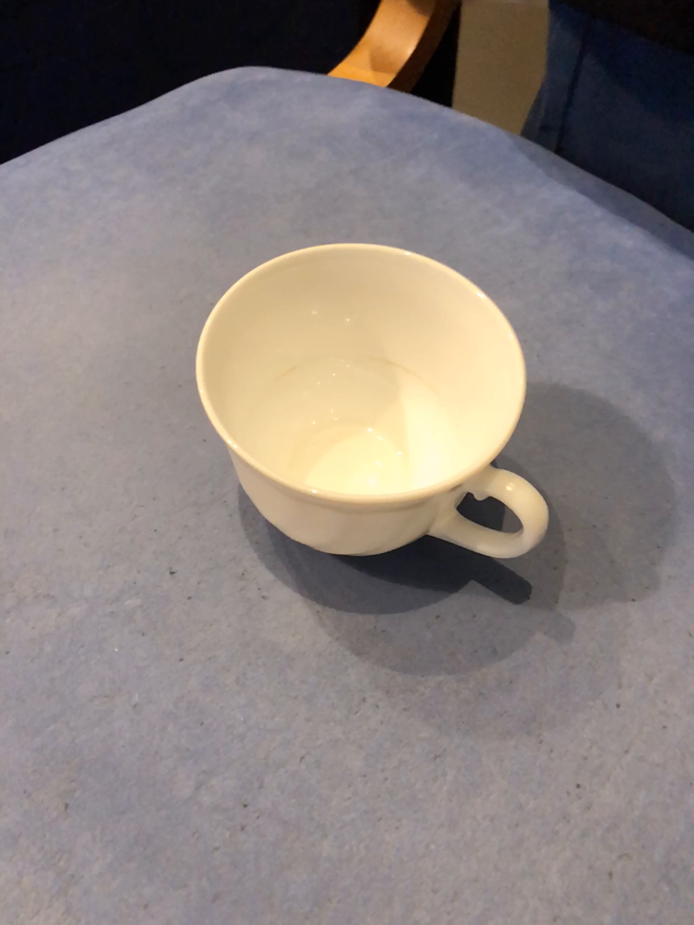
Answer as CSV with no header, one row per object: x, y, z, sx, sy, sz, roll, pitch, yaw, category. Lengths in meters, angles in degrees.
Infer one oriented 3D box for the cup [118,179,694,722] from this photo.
0.014,-0.009,0.207,0.120,0.050,0.080,39,64,19,cup
